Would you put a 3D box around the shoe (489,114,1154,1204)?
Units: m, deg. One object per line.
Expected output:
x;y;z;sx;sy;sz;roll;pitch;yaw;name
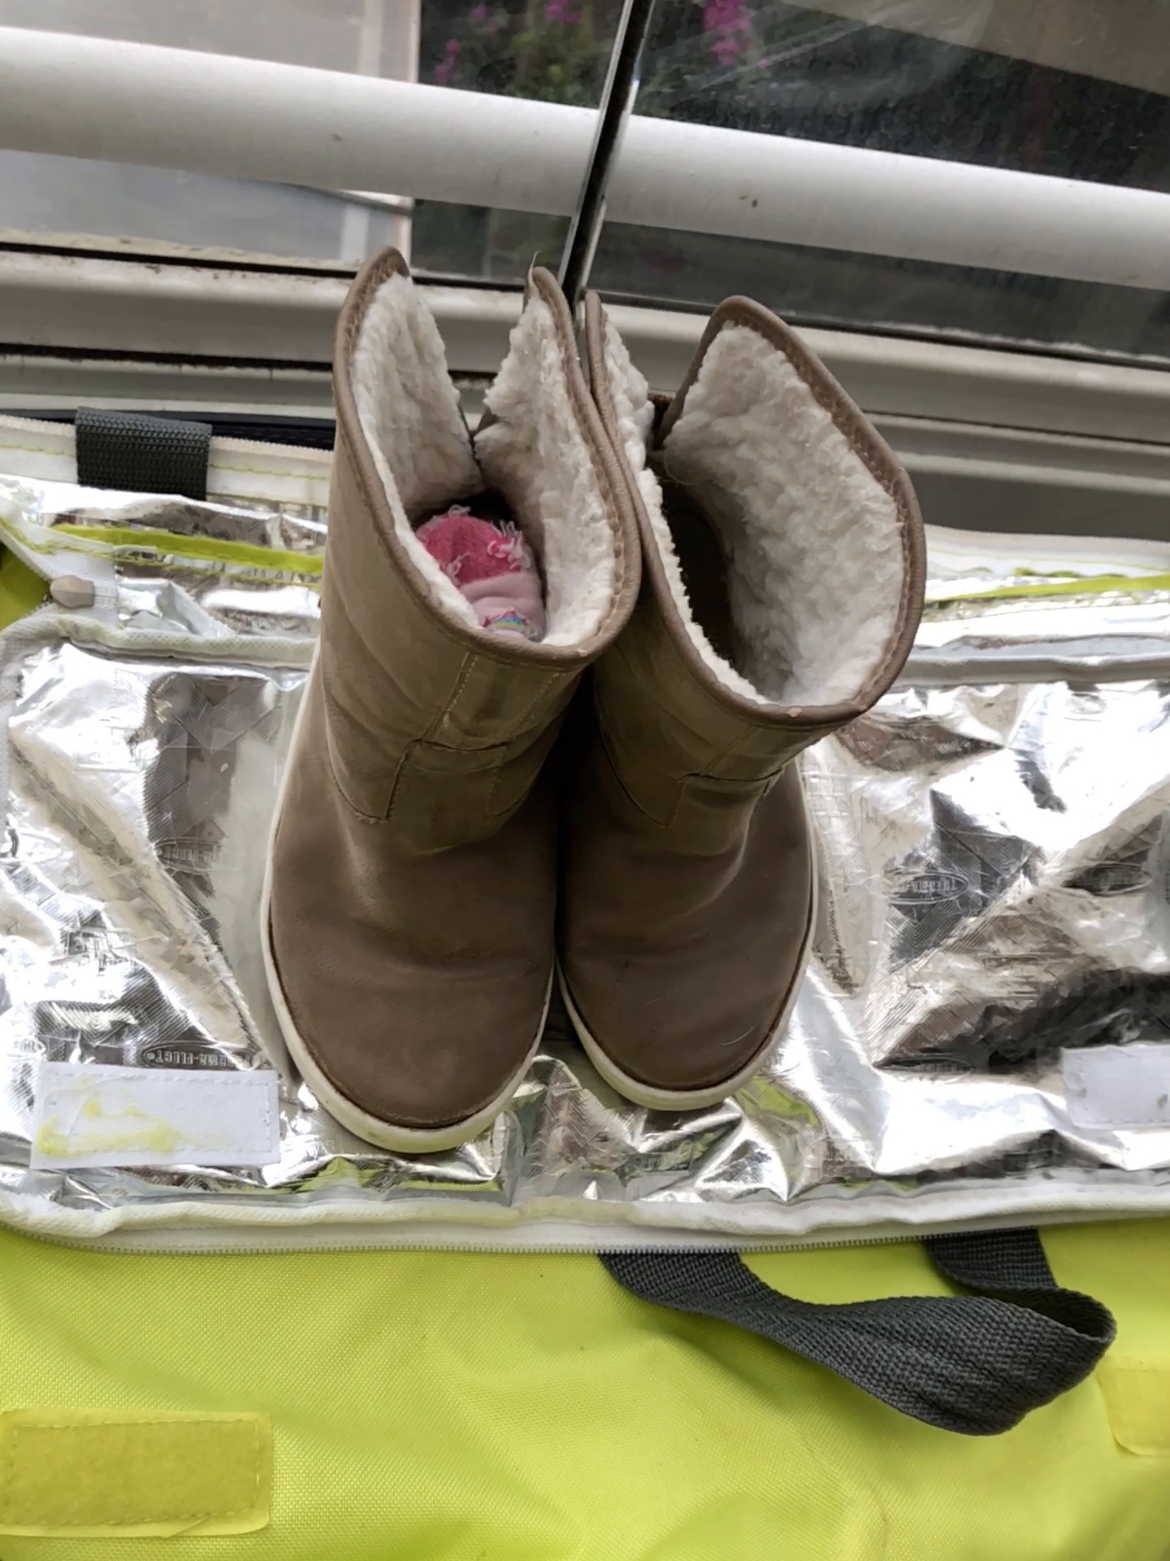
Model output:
0.036;-0.016;0.323;0.089;0.170;0.200;-1;81;-12;shoe

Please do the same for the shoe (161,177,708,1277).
-0.041;-0.002;0.311;0.089;0.170;0.190;0;81;-11;shoe
